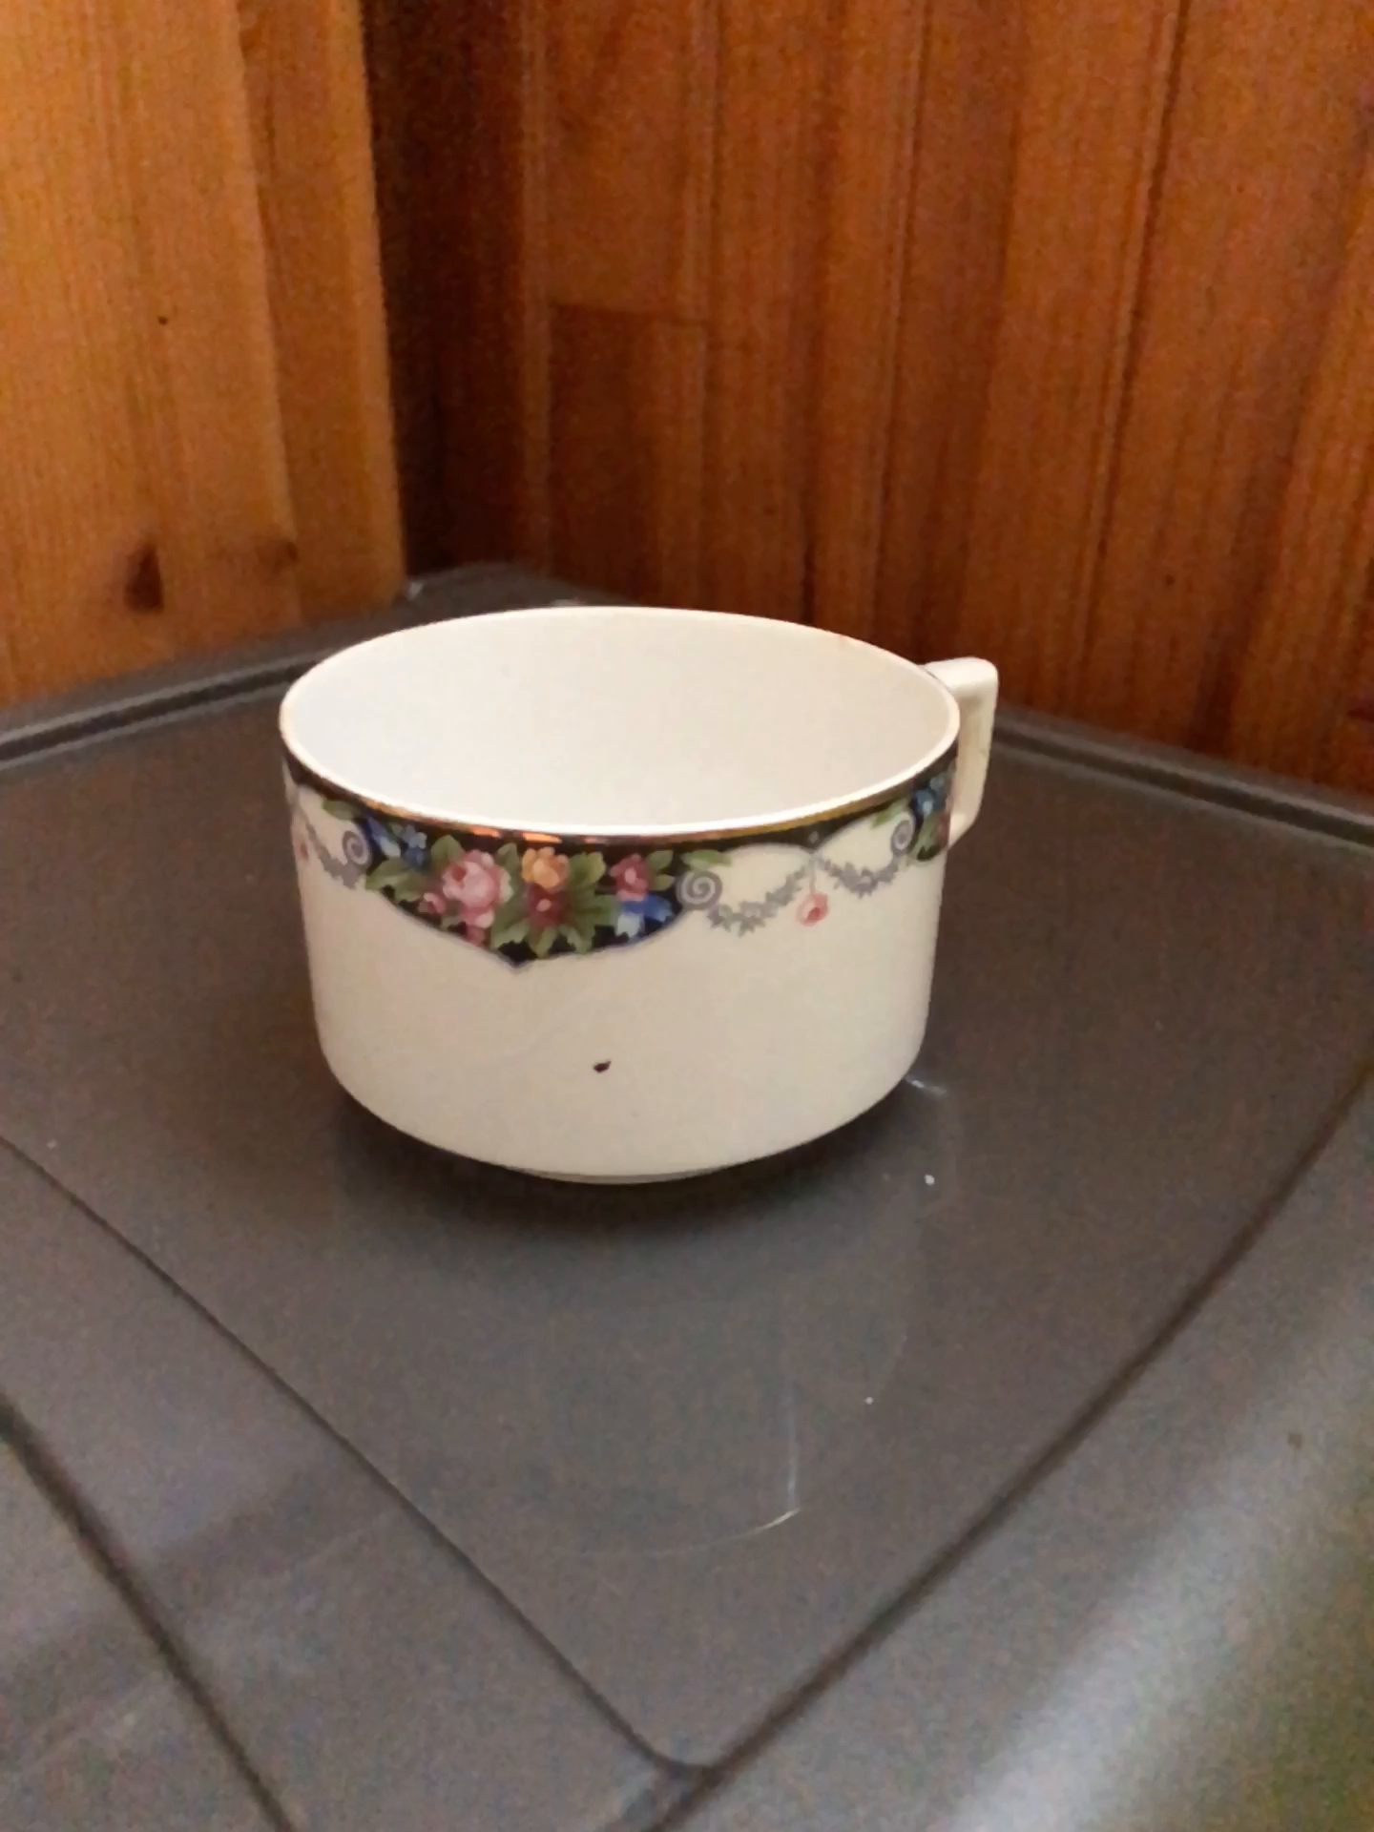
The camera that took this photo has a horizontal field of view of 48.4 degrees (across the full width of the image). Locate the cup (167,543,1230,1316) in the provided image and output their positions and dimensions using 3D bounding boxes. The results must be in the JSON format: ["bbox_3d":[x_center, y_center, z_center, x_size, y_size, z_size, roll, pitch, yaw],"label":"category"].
[{"bbox_3d":[0.001,-0.012,0.249,0.131,0.060,0.100,-18,33,-32],"label":"cup"}]
